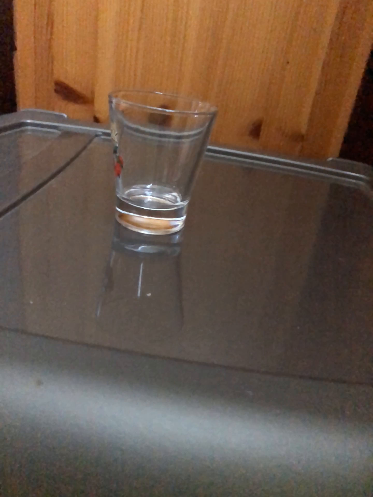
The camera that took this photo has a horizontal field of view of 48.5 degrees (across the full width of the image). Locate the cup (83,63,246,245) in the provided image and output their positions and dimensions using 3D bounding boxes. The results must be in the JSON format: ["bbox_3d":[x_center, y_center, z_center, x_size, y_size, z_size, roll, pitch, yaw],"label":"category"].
[{"bbox_3d":[-0.017,-0.056,0.237,0.060,0.080,0.060,8,27,-4],"label":"cup"}]
